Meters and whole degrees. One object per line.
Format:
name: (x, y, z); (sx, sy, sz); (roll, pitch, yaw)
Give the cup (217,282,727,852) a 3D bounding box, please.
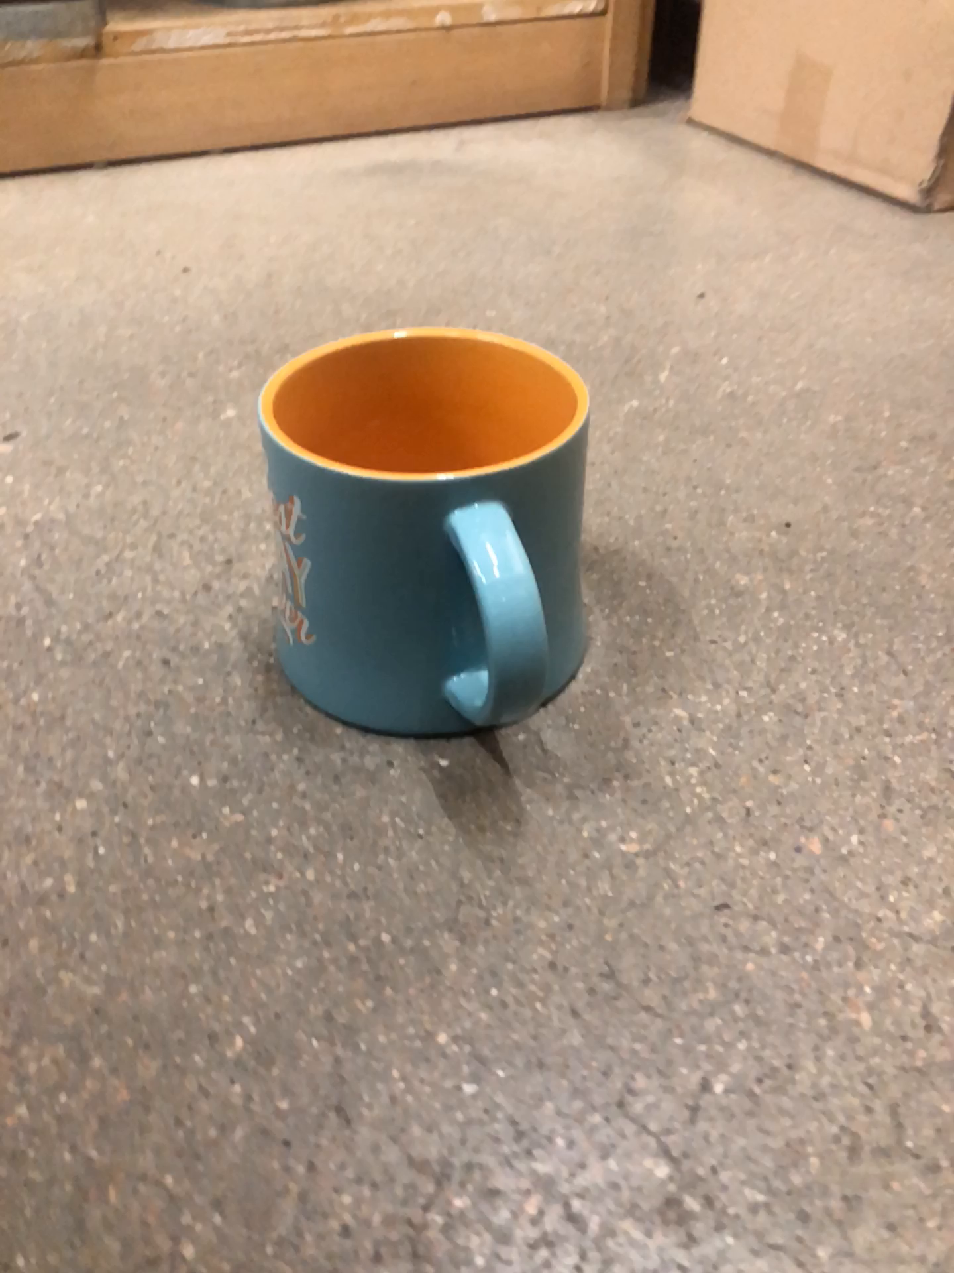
cup: (-0.012, -0.031, 0.326); (0.107, 0.097, 0.144); (-10, 40, -13)
